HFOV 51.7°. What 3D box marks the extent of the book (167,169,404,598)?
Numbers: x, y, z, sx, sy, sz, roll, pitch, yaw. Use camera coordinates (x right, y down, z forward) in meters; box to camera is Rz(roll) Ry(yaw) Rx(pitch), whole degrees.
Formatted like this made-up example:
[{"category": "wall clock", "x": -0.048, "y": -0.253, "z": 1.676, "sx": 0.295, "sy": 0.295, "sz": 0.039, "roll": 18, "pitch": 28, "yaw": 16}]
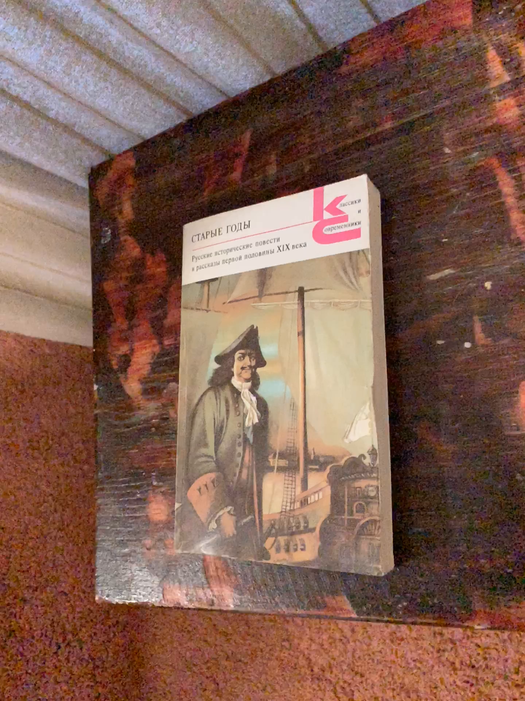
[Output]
[{"category": "book", "x": 0.007, "y": 0.016, "z": 0.292, "sx": 0.124, "sy": 0.026, "sz": 0.197, "roll": -6, "pitch": 79, "yaw": 32}]
